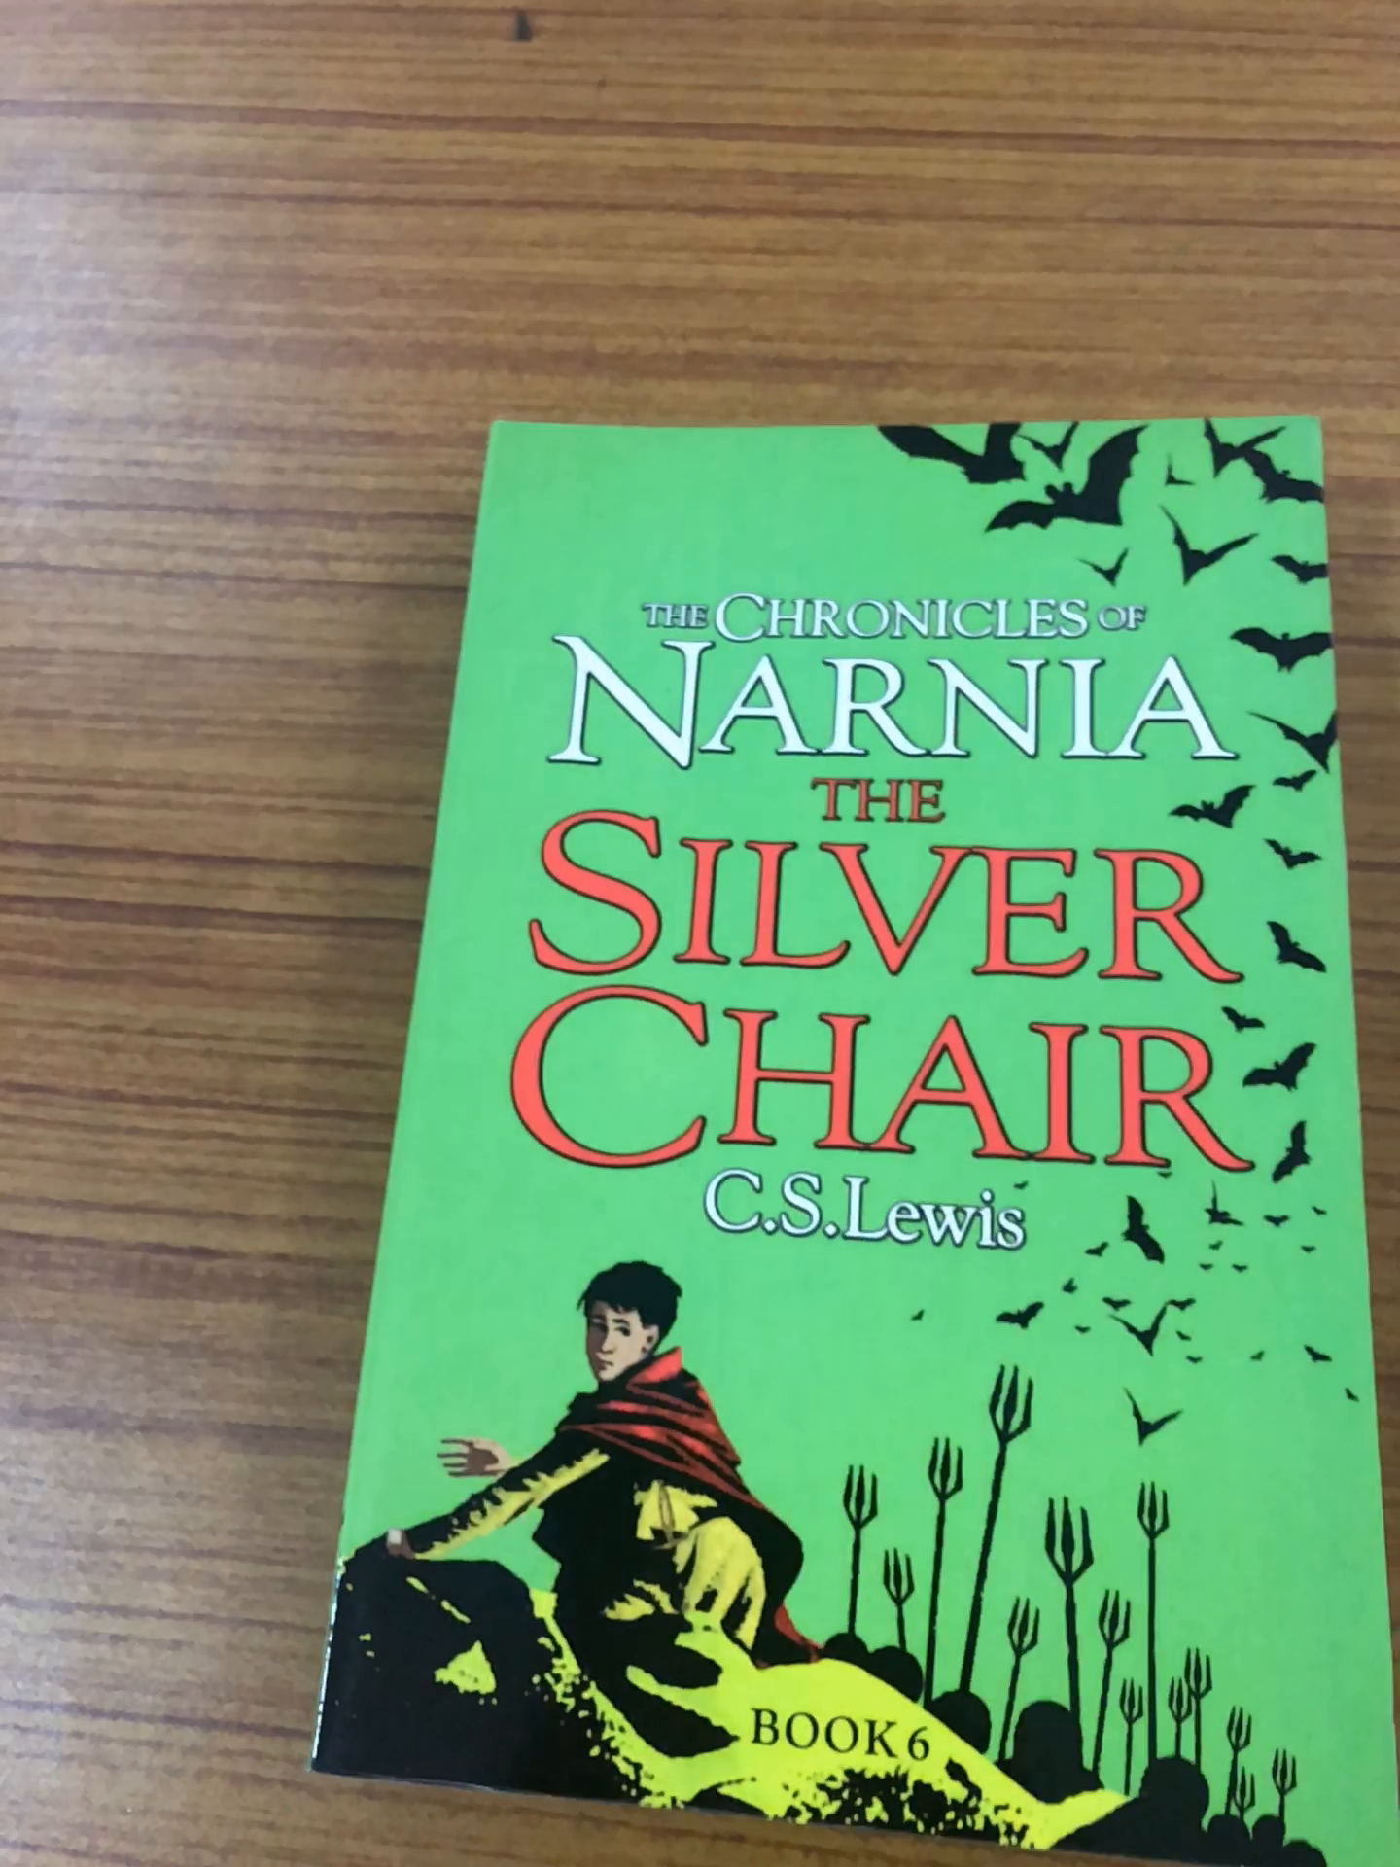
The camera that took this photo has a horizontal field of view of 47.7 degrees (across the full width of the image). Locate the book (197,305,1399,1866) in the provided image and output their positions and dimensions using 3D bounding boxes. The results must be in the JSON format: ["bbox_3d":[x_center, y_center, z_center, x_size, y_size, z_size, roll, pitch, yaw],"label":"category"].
[{"bbox_3d":[0.019,0.010,0.224,0.140,0.030,0.210,3,73,5],"label":"book"}]
